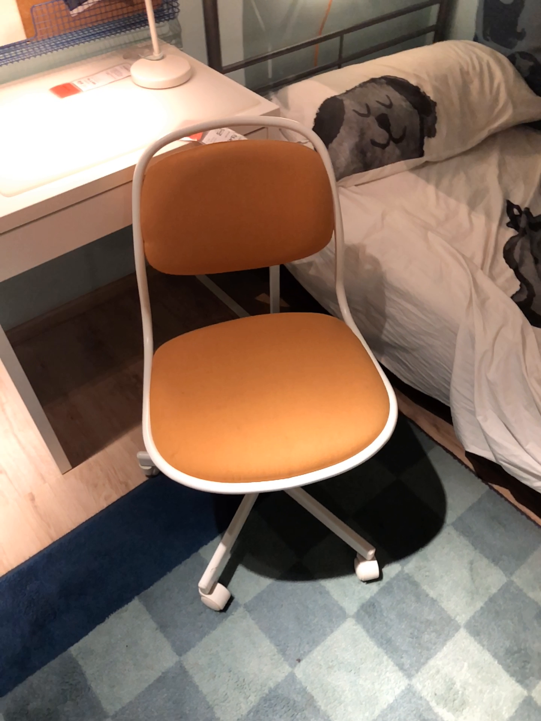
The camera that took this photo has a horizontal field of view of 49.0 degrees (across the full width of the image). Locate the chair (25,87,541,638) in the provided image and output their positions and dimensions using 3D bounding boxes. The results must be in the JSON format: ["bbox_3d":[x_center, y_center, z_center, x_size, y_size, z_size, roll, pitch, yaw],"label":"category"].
[{"bbox_3d":[-0.003,0.038,1.120,0.610,0.795,0.563,-10,49,-8],"label":"chair"}]
